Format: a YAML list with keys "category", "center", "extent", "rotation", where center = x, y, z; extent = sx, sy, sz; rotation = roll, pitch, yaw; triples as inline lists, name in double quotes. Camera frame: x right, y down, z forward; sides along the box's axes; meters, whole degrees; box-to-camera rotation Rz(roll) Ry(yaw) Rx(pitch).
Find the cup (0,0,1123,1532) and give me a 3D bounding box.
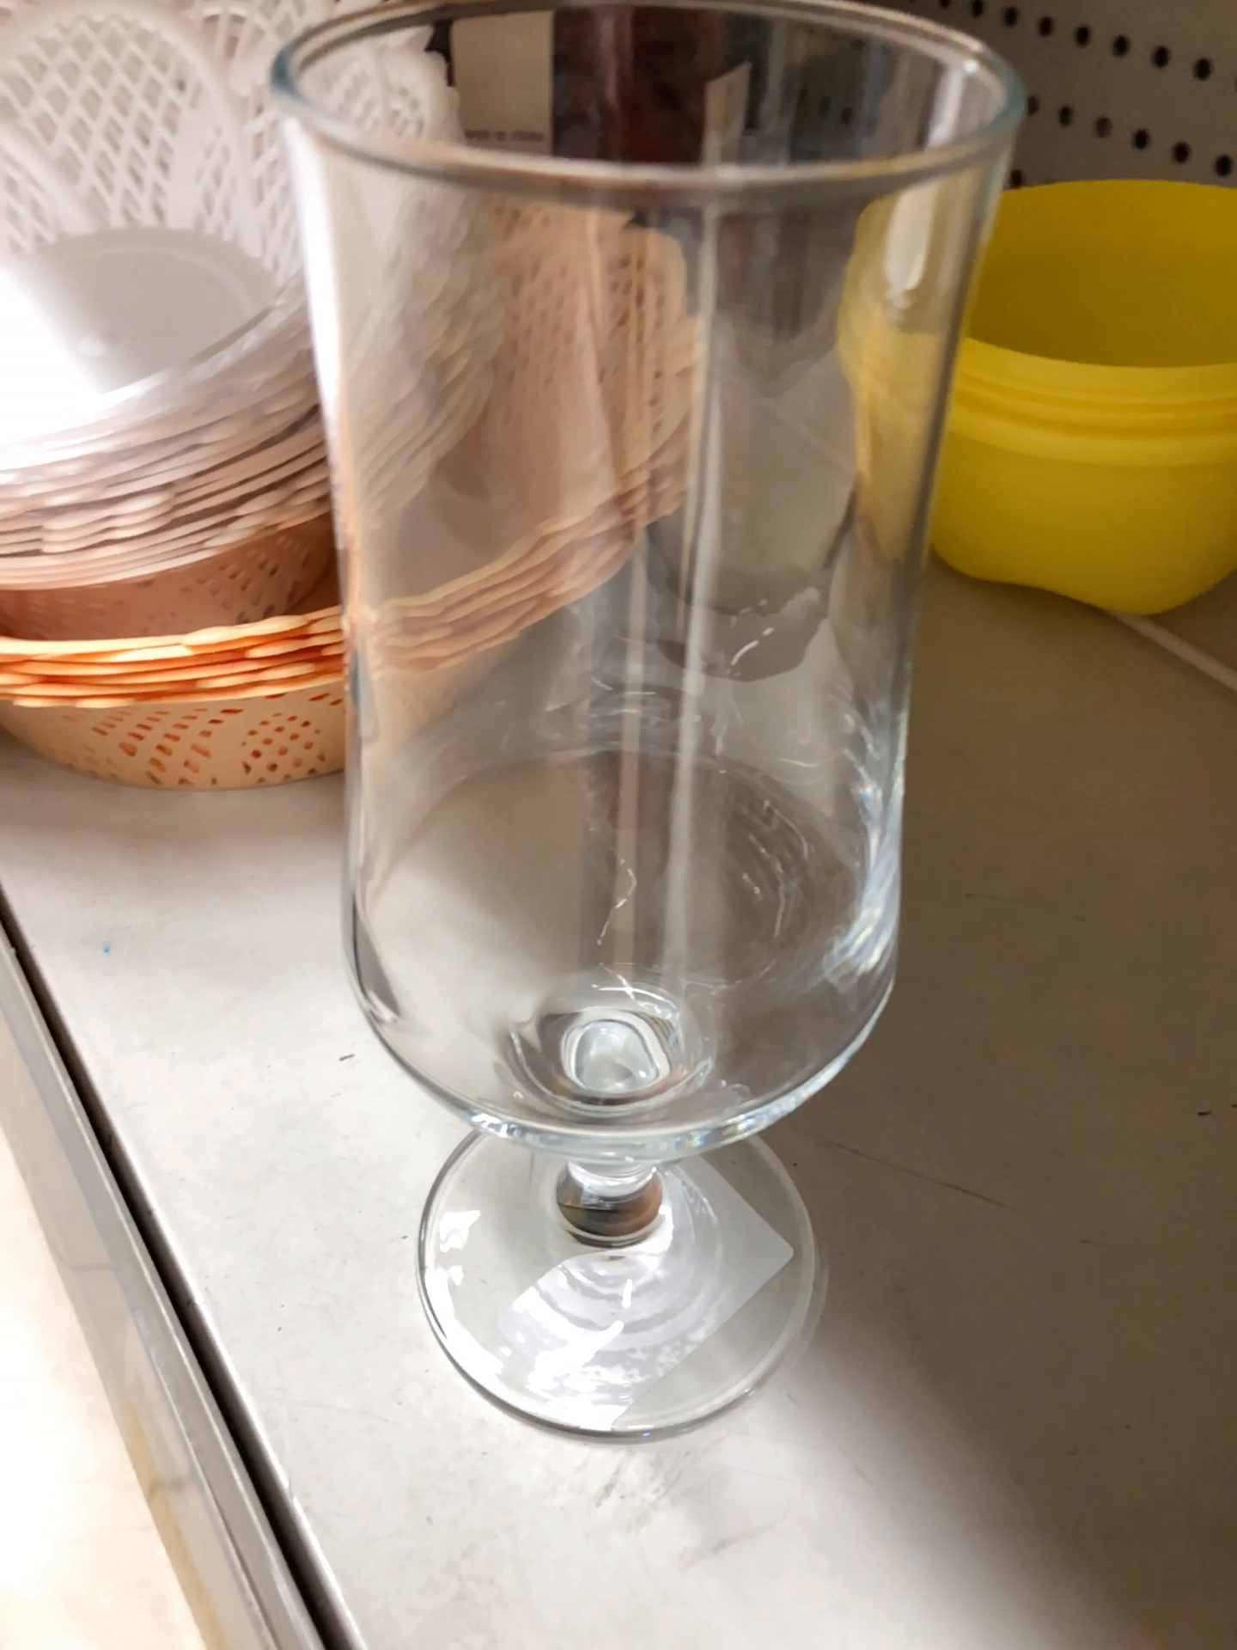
- category: "cup"
  center: [-0.001, 0.001, 0.178]
  extent: [0.079, 0.177, 0.079]
  rotation: [1, 41, -1]
